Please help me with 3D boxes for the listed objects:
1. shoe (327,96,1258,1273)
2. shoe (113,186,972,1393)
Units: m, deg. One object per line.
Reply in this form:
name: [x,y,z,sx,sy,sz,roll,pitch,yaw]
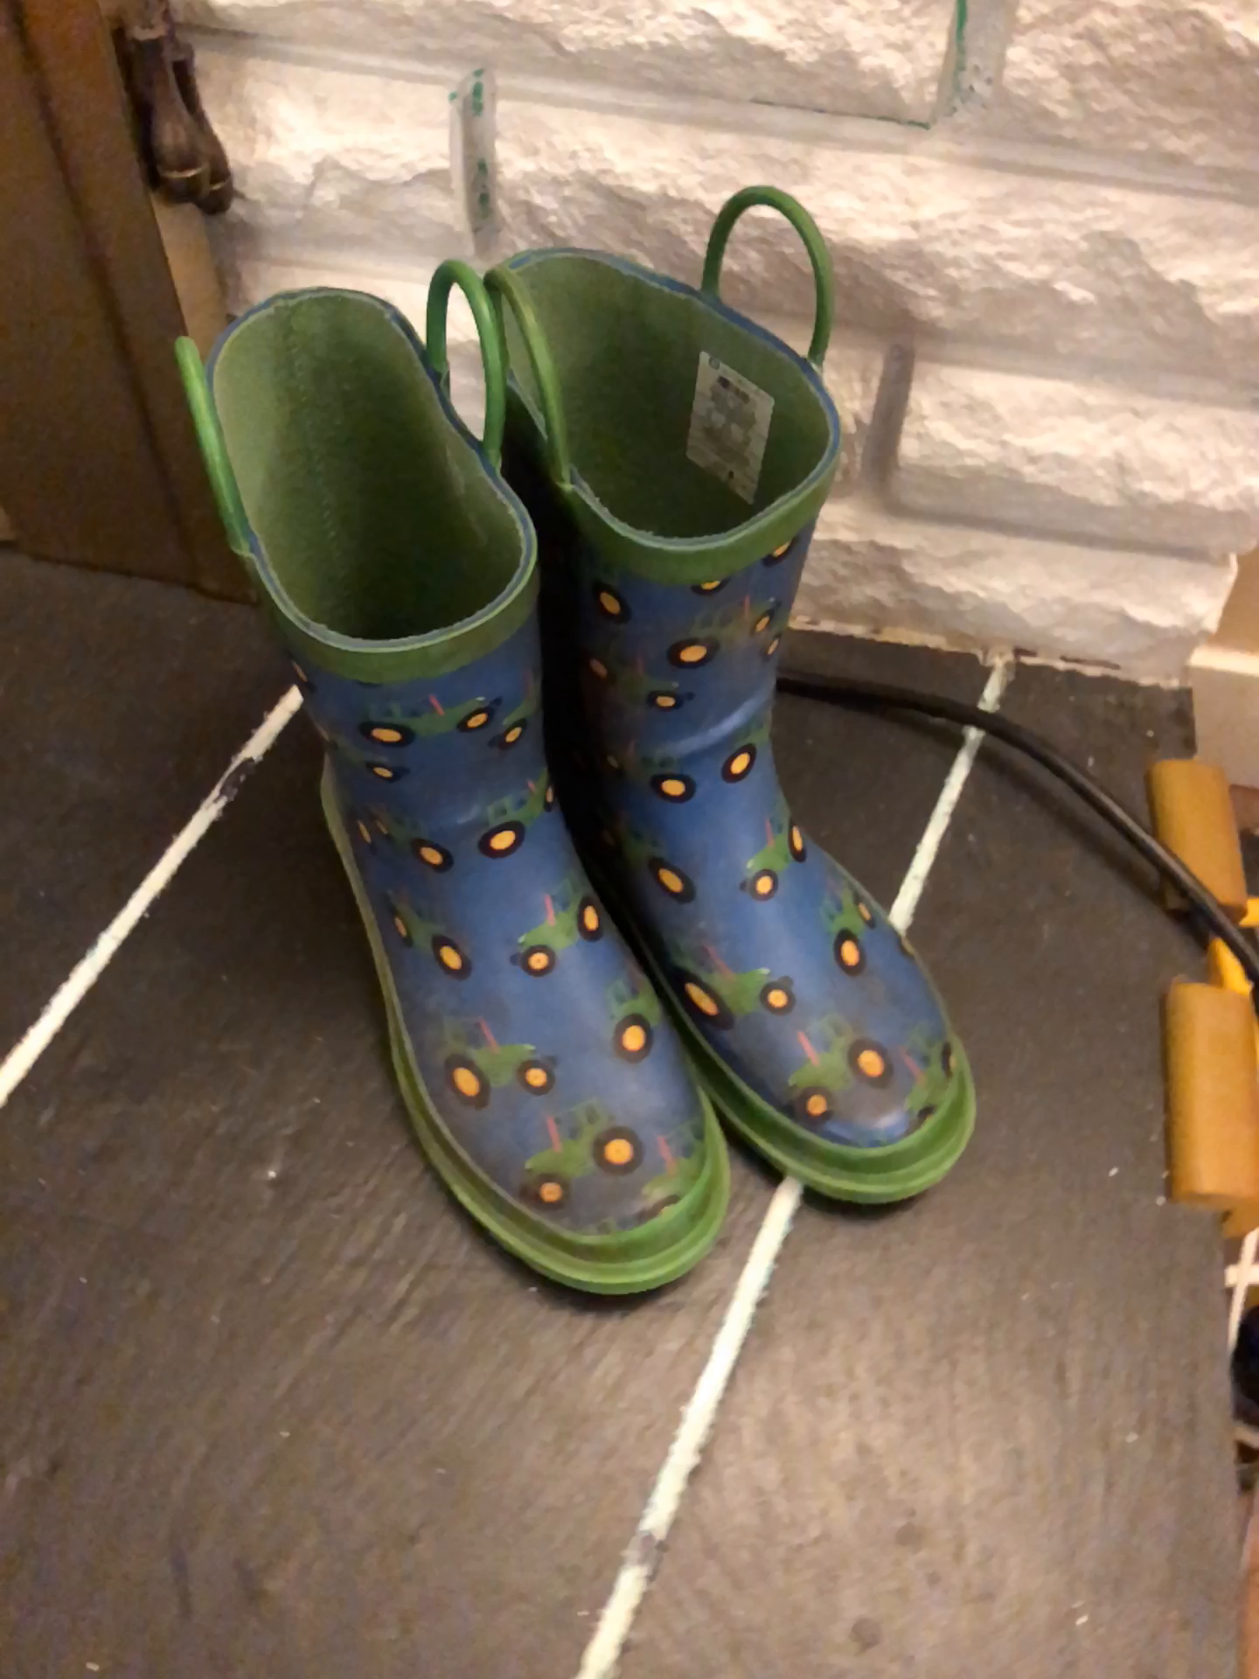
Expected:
shoe: [0.032,-0.033,0.406,0.100,0.229,0.241,-31,64,-20]
shoe: [-0.036,0.000,0.393,0.100,0.239,0.231,-20,61,-14]
